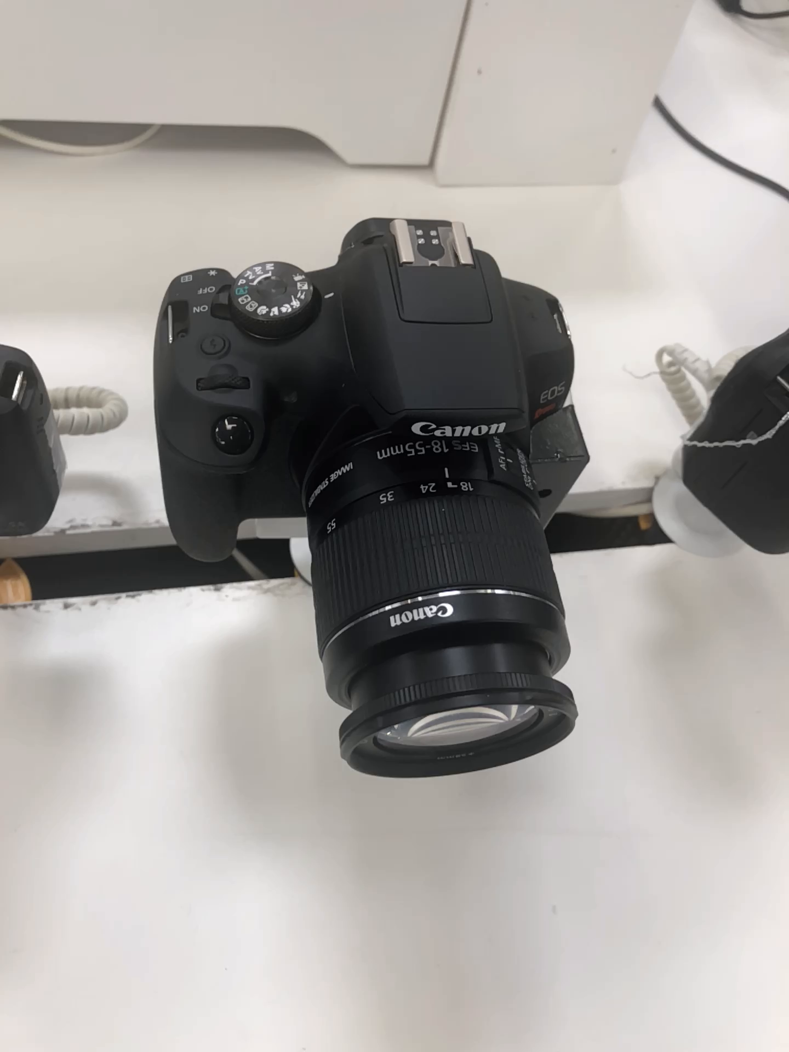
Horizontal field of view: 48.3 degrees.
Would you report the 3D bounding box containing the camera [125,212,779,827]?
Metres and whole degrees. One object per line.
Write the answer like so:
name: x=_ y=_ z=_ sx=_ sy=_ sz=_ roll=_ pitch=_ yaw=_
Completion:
camera: x=0.001 y=-0.003 z=0.248 sx=0.130 sy=0.092 sz=0.132 roll=-7 pitch=62 yaw=-13
